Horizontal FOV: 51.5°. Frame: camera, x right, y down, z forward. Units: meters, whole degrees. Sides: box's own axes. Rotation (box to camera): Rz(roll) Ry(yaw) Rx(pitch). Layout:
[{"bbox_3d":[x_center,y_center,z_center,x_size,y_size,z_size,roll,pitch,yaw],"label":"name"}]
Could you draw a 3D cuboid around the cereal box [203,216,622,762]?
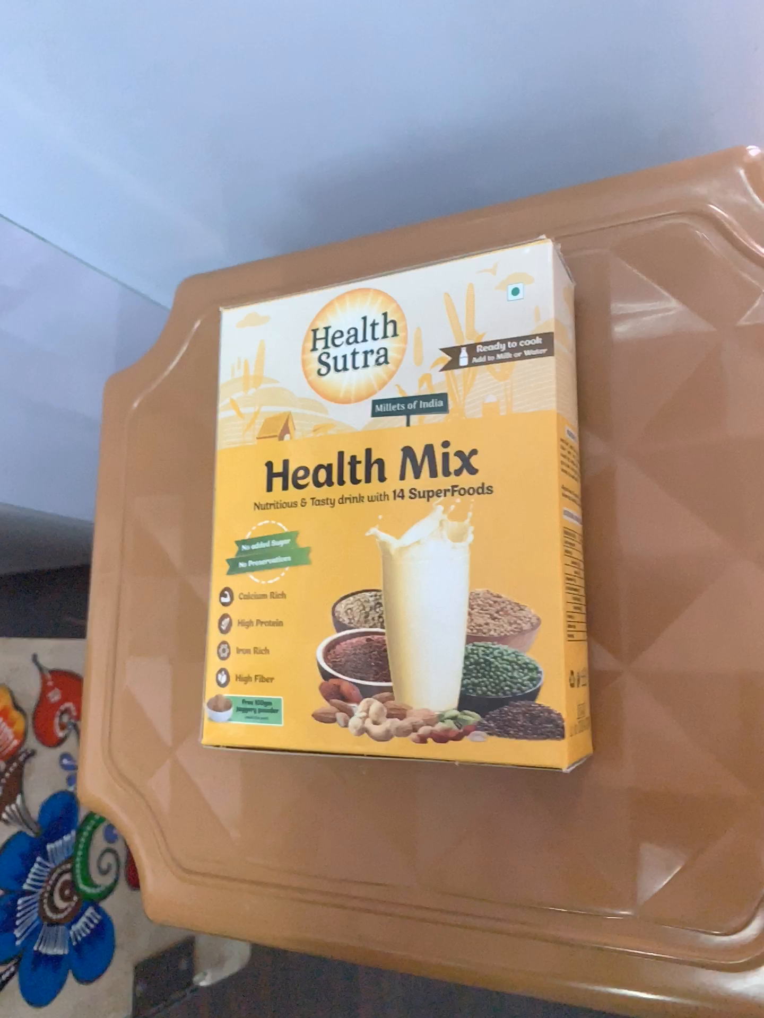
[{"bbox_3d":[0.008,-0.003,0.271,0.130,0.040,0.160,-4,78,24],"label":"cereal box"}]
